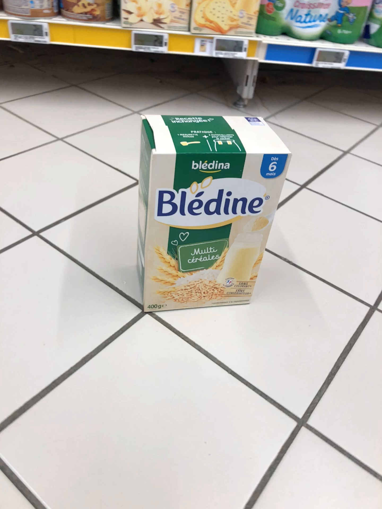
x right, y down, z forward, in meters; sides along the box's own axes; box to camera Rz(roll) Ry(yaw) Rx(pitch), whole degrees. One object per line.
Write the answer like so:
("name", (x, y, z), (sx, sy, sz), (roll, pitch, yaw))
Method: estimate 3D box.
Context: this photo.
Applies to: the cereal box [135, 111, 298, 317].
("cereal box", (0.012, -0.038, 0.456), (0.130, 0.199, 0.090), (-3, 41, -13))
